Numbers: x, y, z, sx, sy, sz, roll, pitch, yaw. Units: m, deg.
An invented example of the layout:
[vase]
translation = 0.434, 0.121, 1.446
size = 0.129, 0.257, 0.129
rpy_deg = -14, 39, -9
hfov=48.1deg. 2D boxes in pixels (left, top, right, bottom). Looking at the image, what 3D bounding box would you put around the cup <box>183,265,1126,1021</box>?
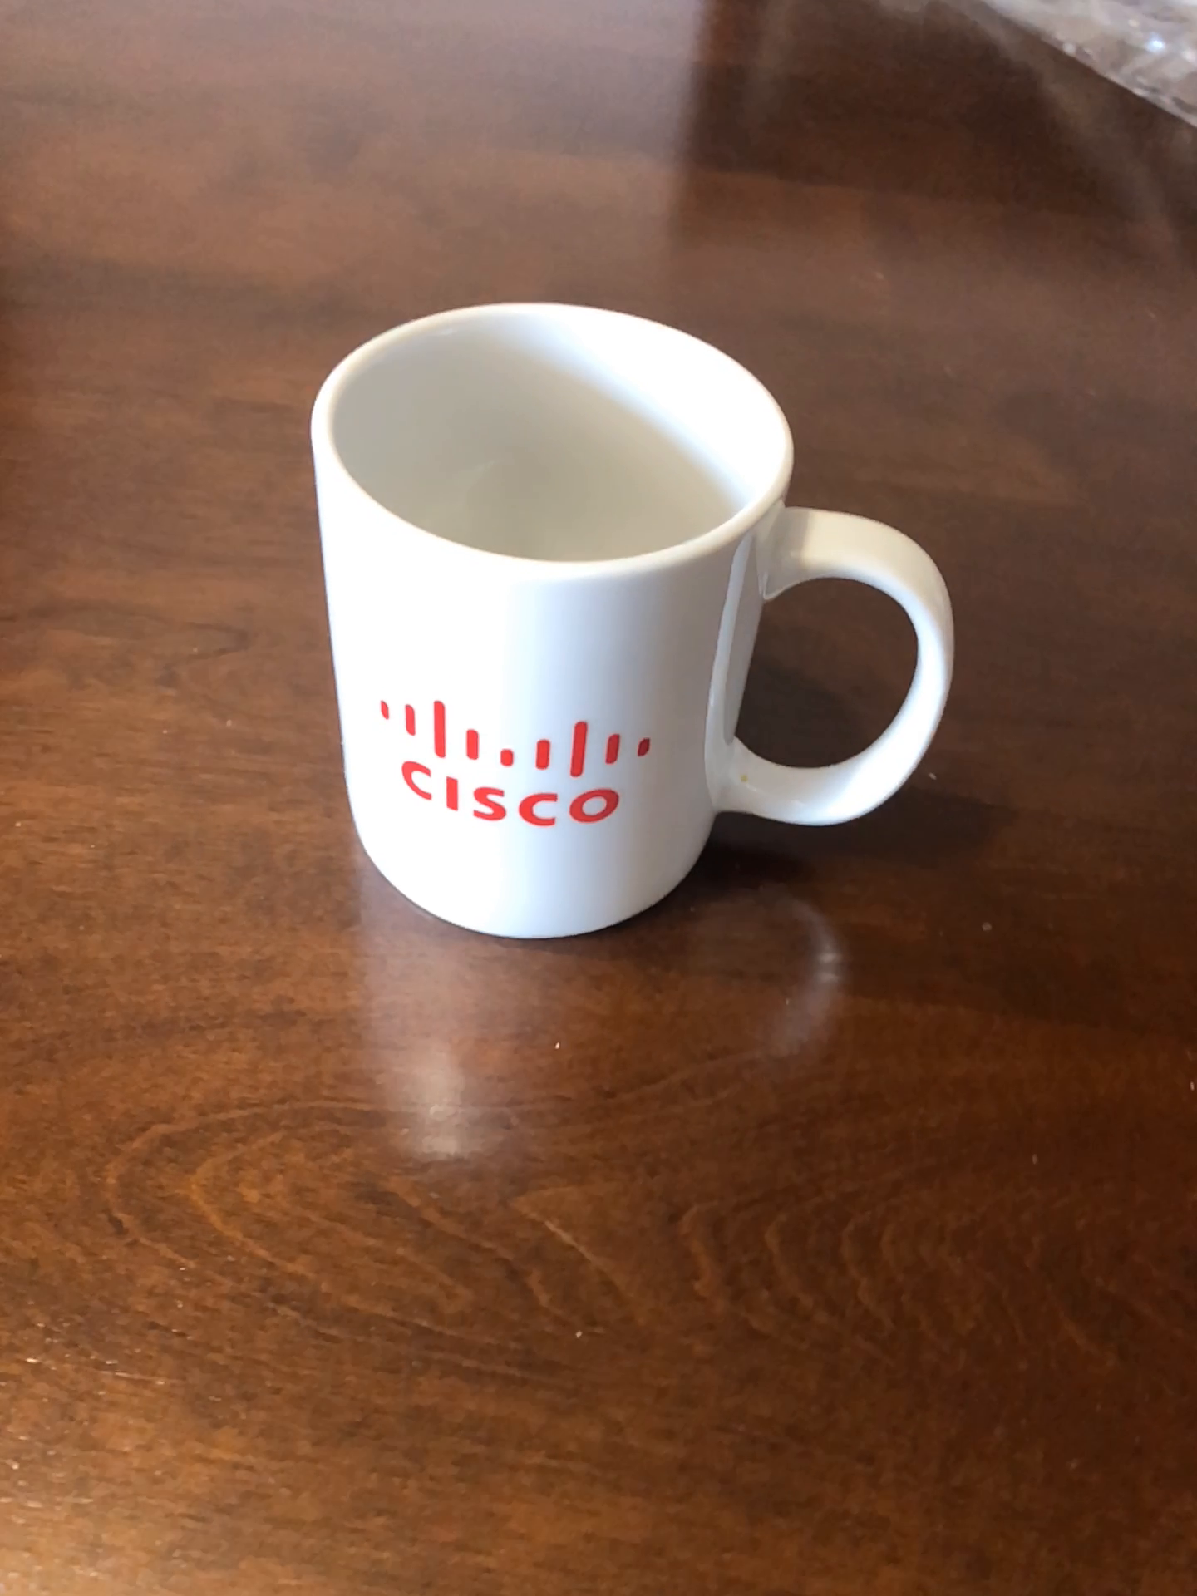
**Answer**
[cup]
translation = 0.009, -0.027, 0.243
size = 0.130, 0.090, 0.080
rpy_deg = 8, 47, 2
